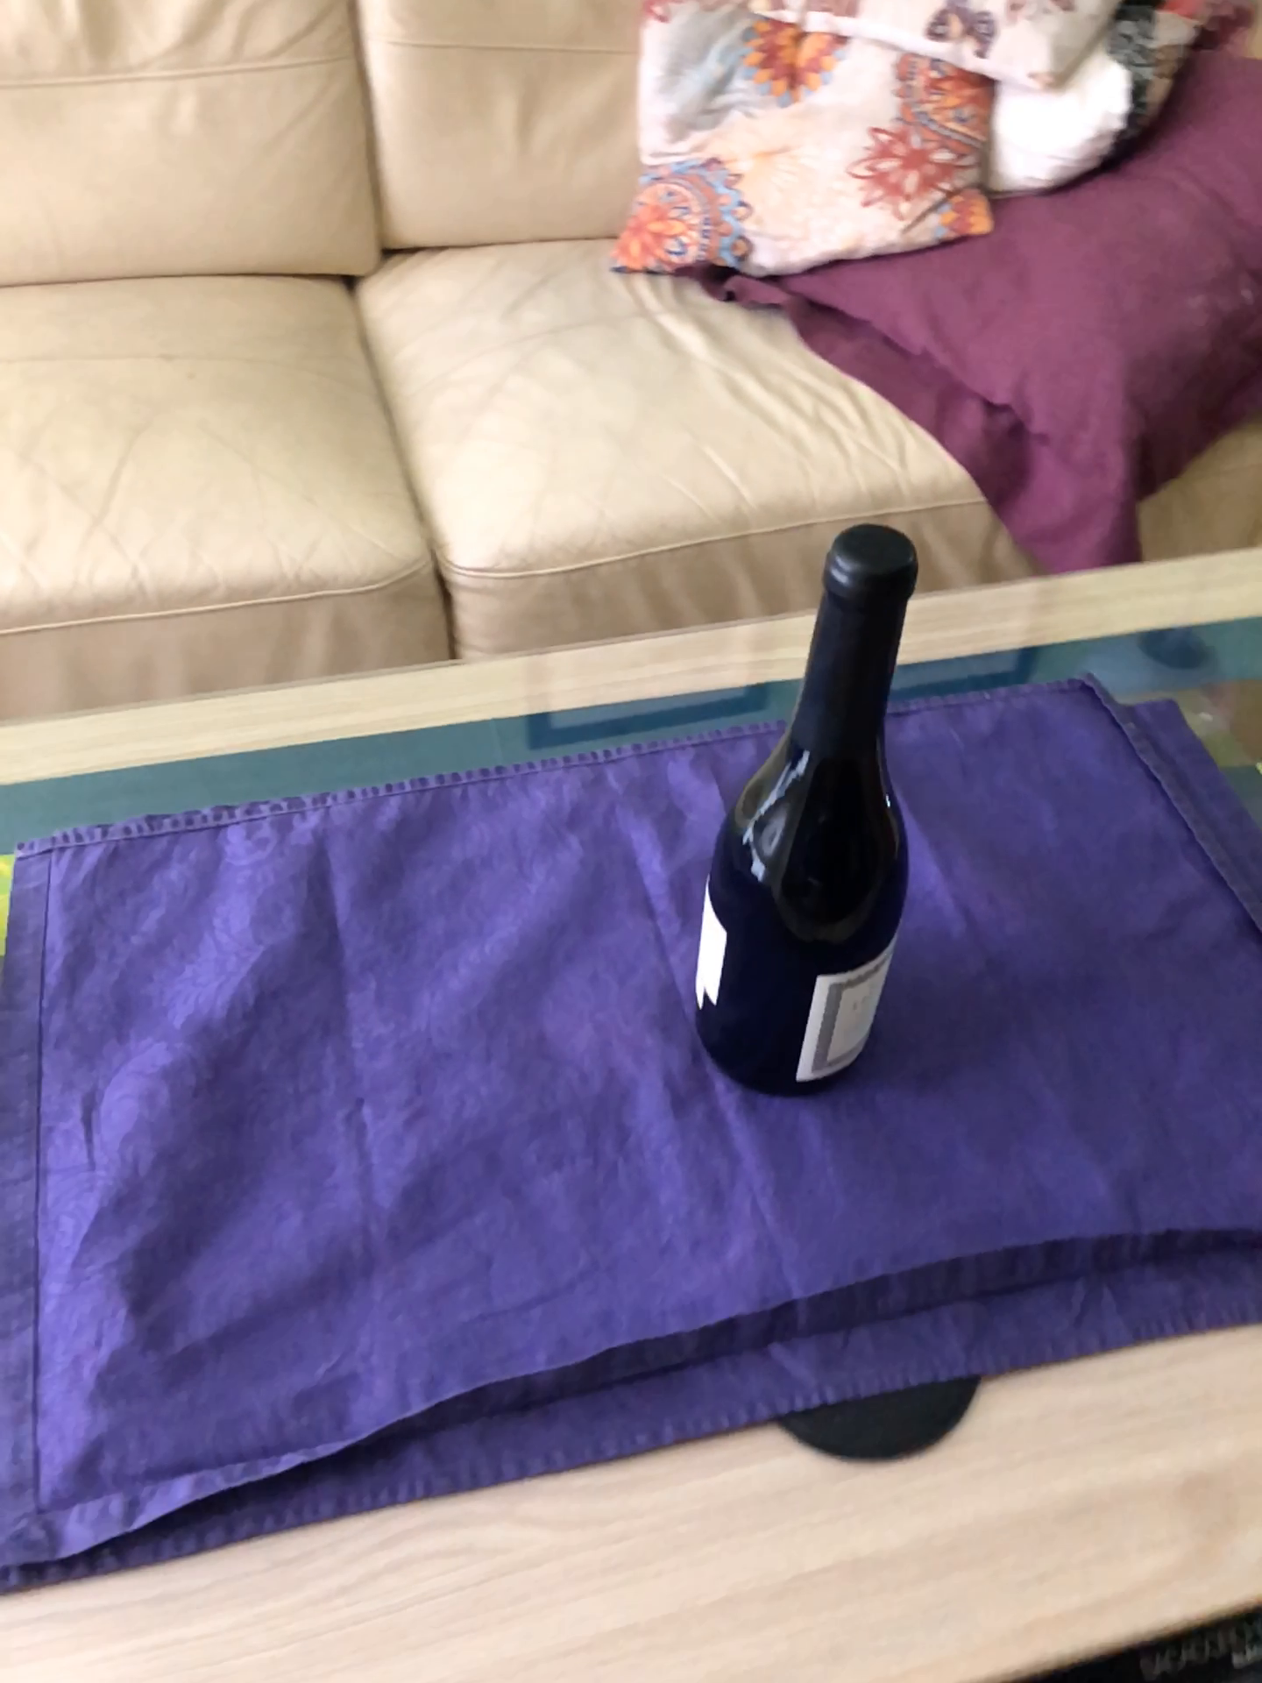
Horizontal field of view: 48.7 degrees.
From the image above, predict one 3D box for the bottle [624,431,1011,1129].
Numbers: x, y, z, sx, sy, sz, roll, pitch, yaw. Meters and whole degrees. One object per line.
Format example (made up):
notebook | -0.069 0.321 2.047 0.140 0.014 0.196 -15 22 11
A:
bottle | 0.065 -0.012 0.560 0.100 0.259 0.110 15 49 11
